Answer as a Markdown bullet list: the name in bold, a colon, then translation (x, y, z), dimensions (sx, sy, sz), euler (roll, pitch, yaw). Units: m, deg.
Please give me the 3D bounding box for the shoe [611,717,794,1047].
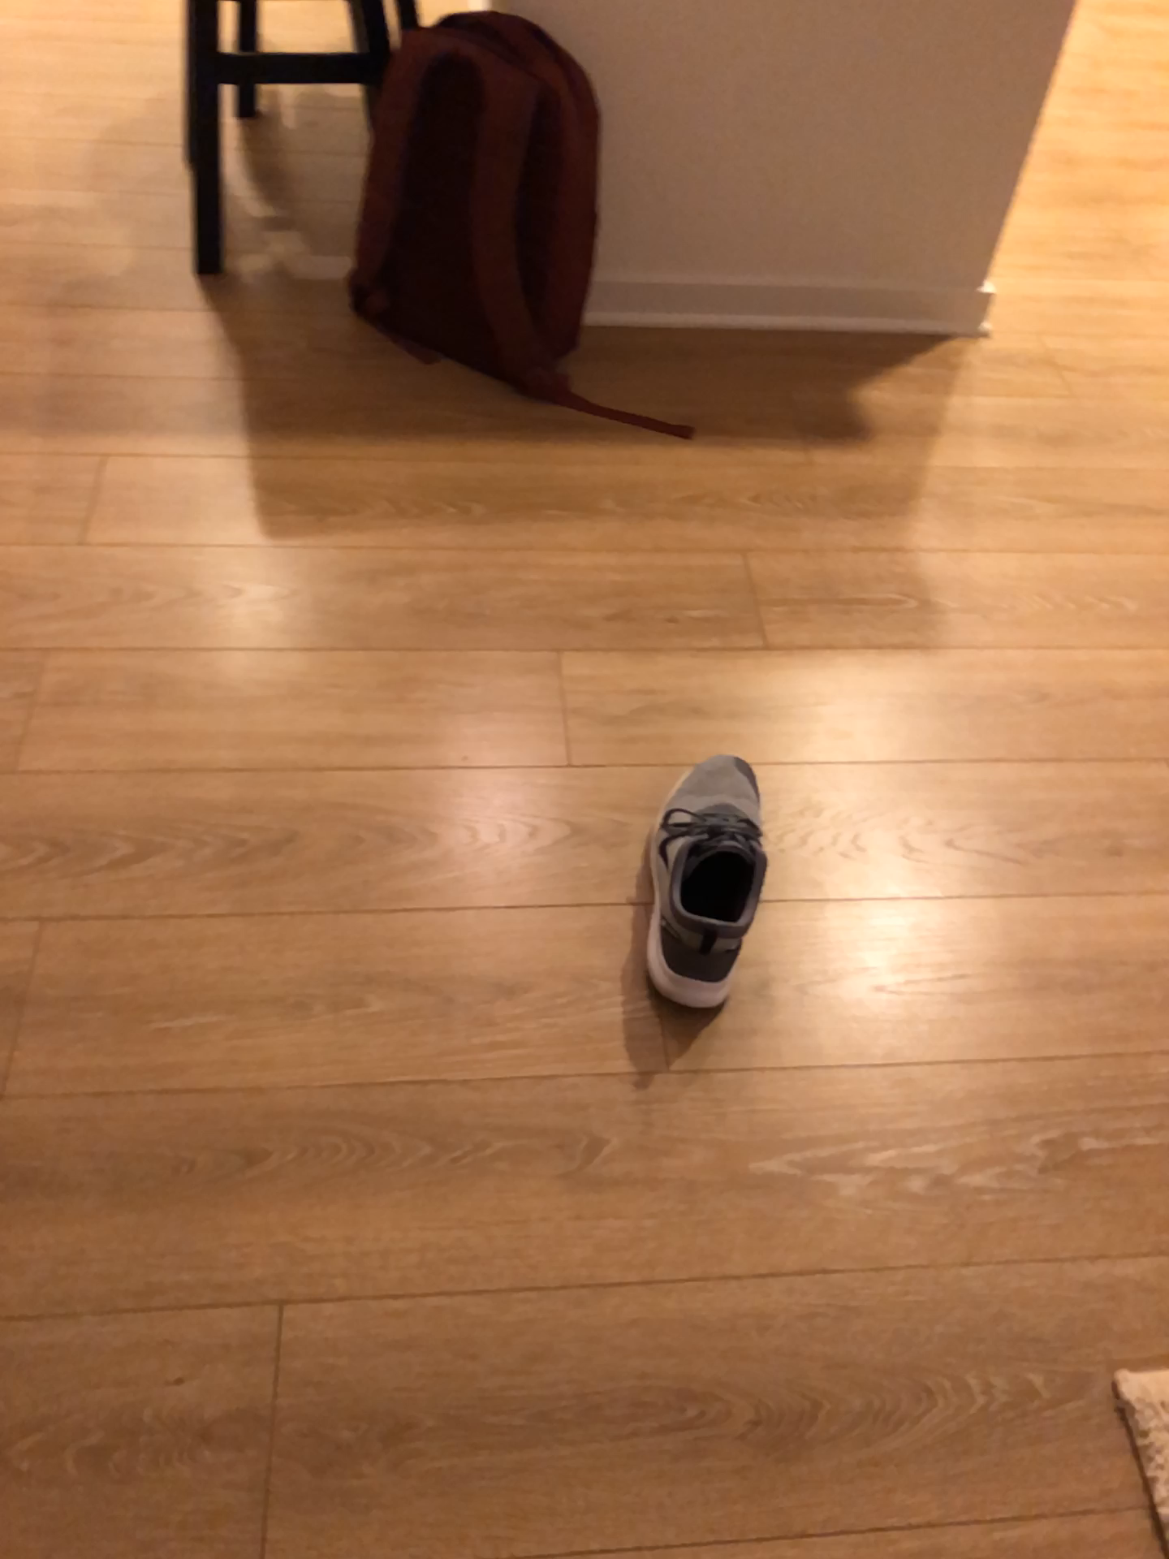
- **shoe**: translation (0.121, 0.091, 1.274), dimensions (0.140, 0.080, 0.321), euler (9, 49, 3)
